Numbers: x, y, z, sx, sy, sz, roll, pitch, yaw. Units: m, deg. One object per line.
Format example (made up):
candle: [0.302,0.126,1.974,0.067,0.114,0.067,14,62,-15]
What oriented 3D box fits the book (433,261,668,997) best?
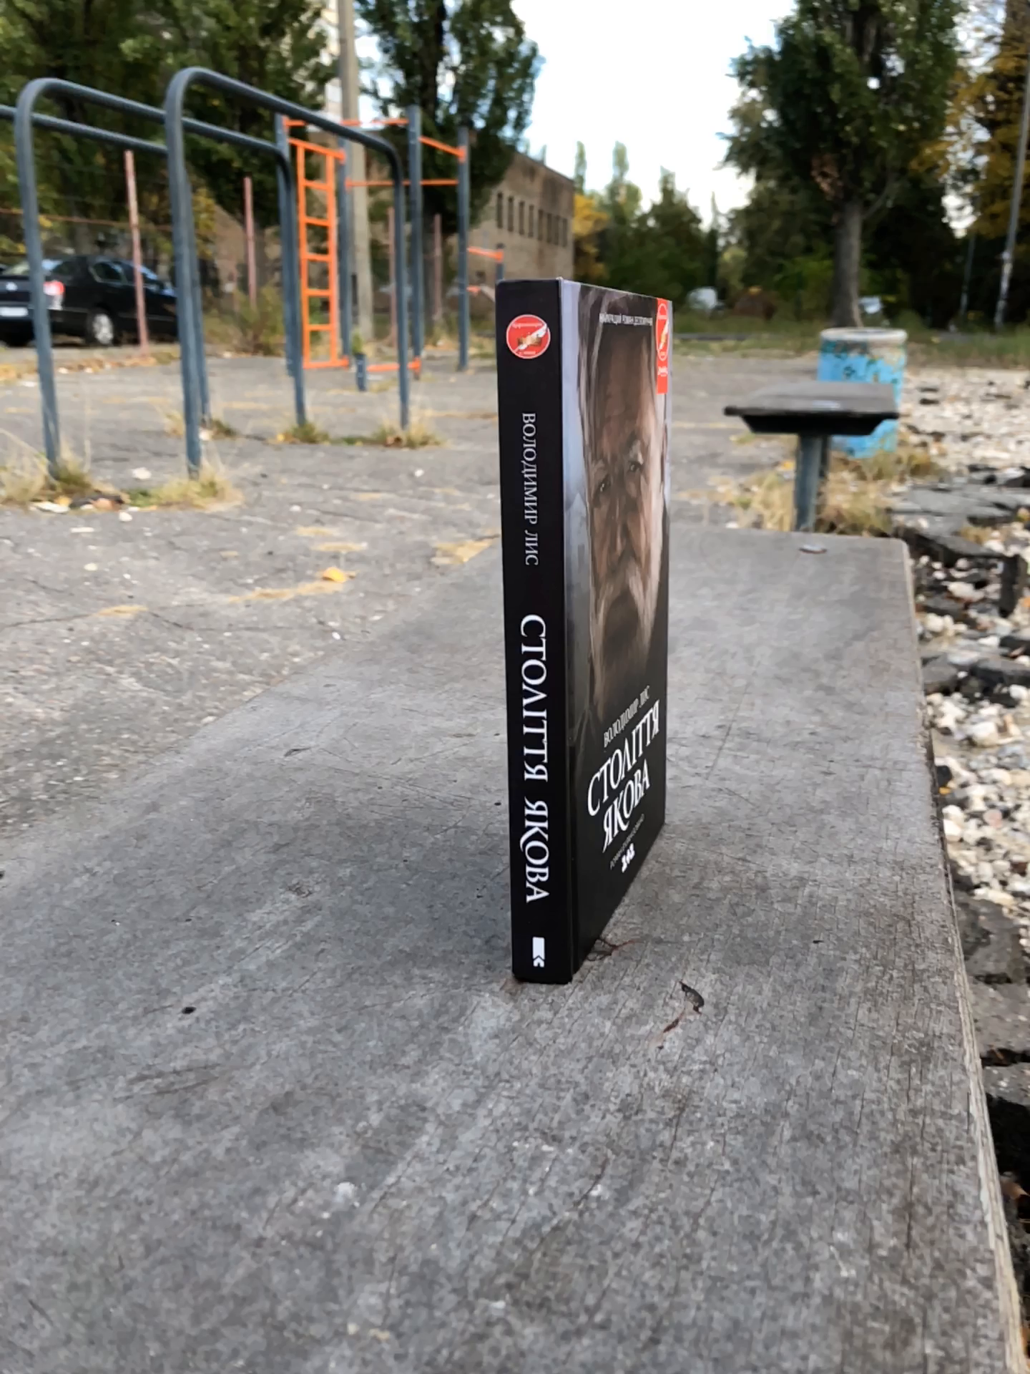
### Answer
book: [0.021,-0.028,0.386,0.030,0.212,0.141,4,17,20]
